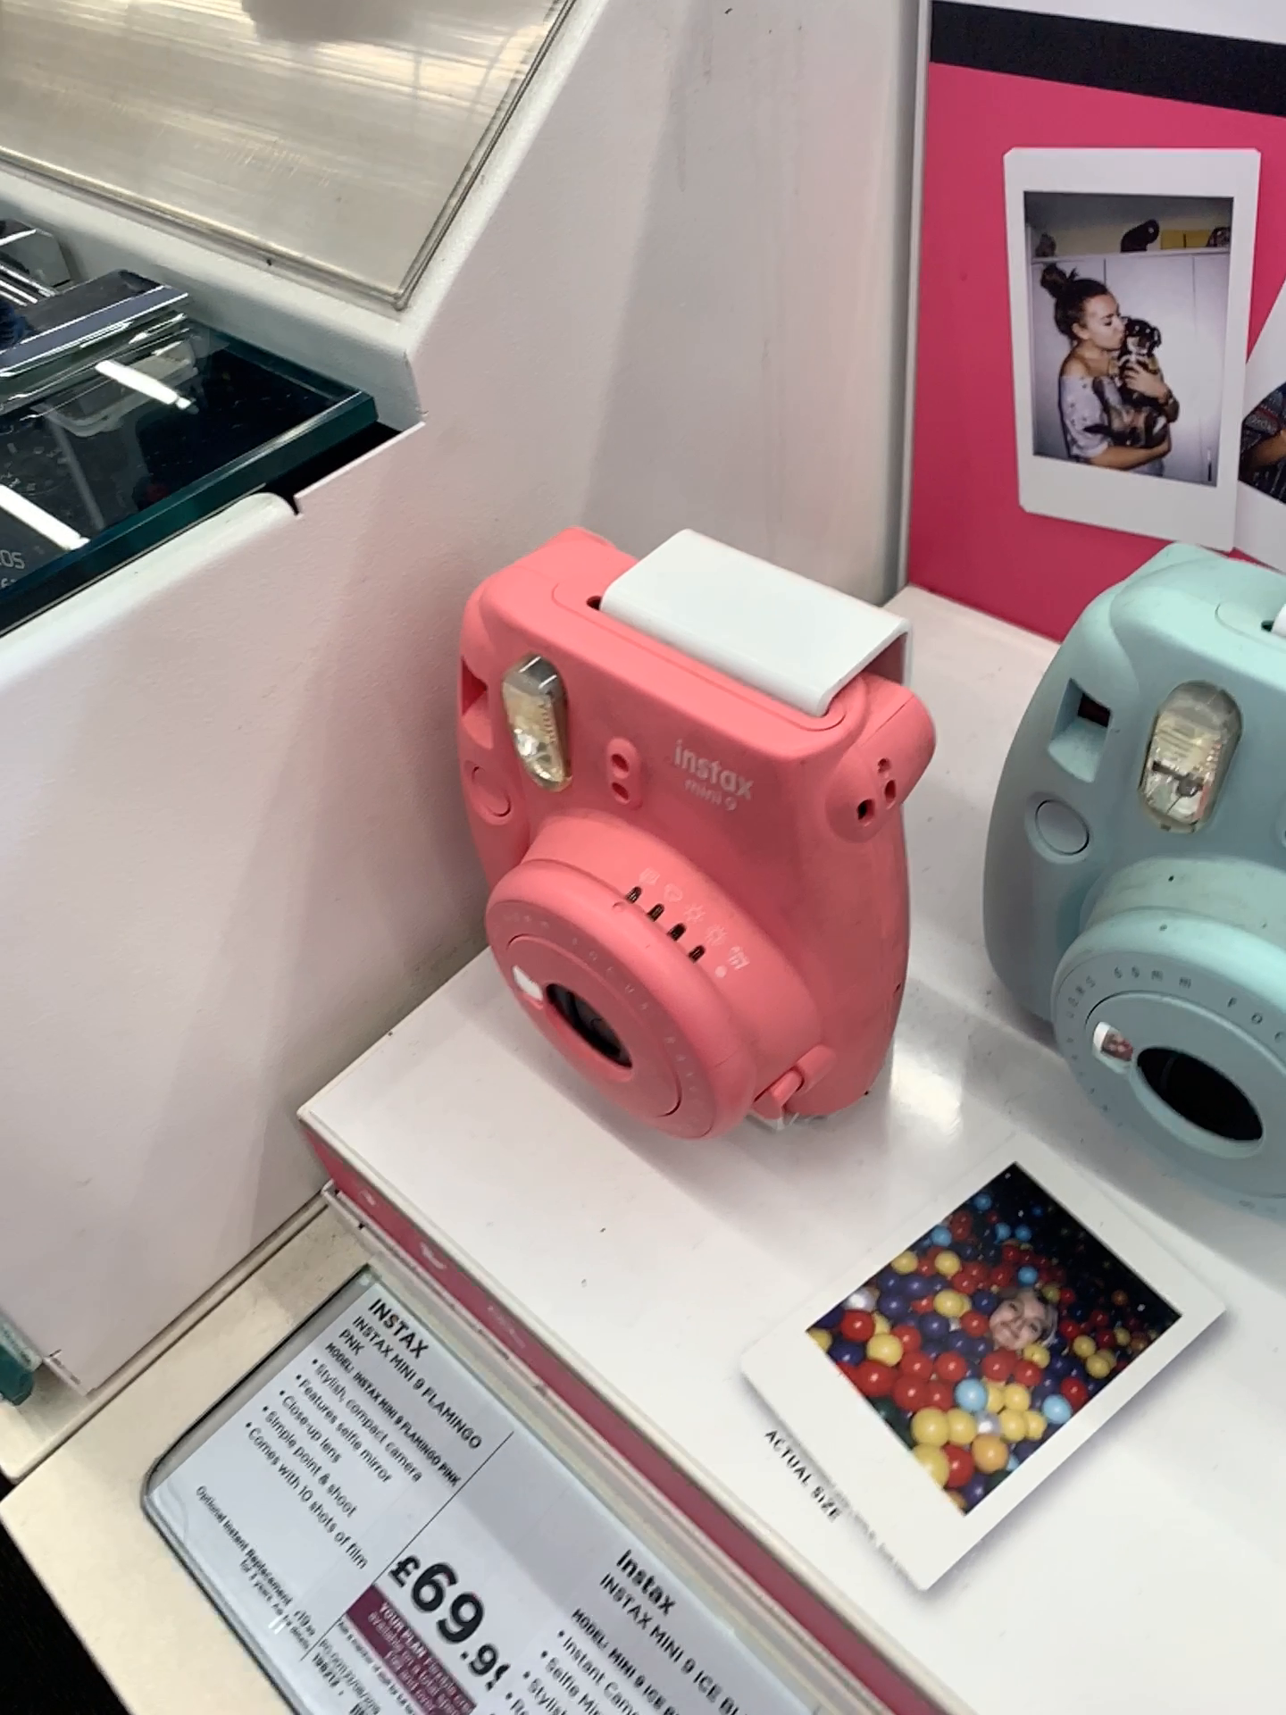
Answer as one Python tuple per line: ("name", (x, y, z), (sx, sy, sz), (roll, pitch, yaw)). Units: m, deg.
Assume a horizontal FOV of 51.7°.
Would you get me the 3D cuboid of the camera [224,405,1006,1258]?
("camera", (-0.003, -0.008, 0.283), (0.121, 0.119, 0.080), (32, 58, 32))
